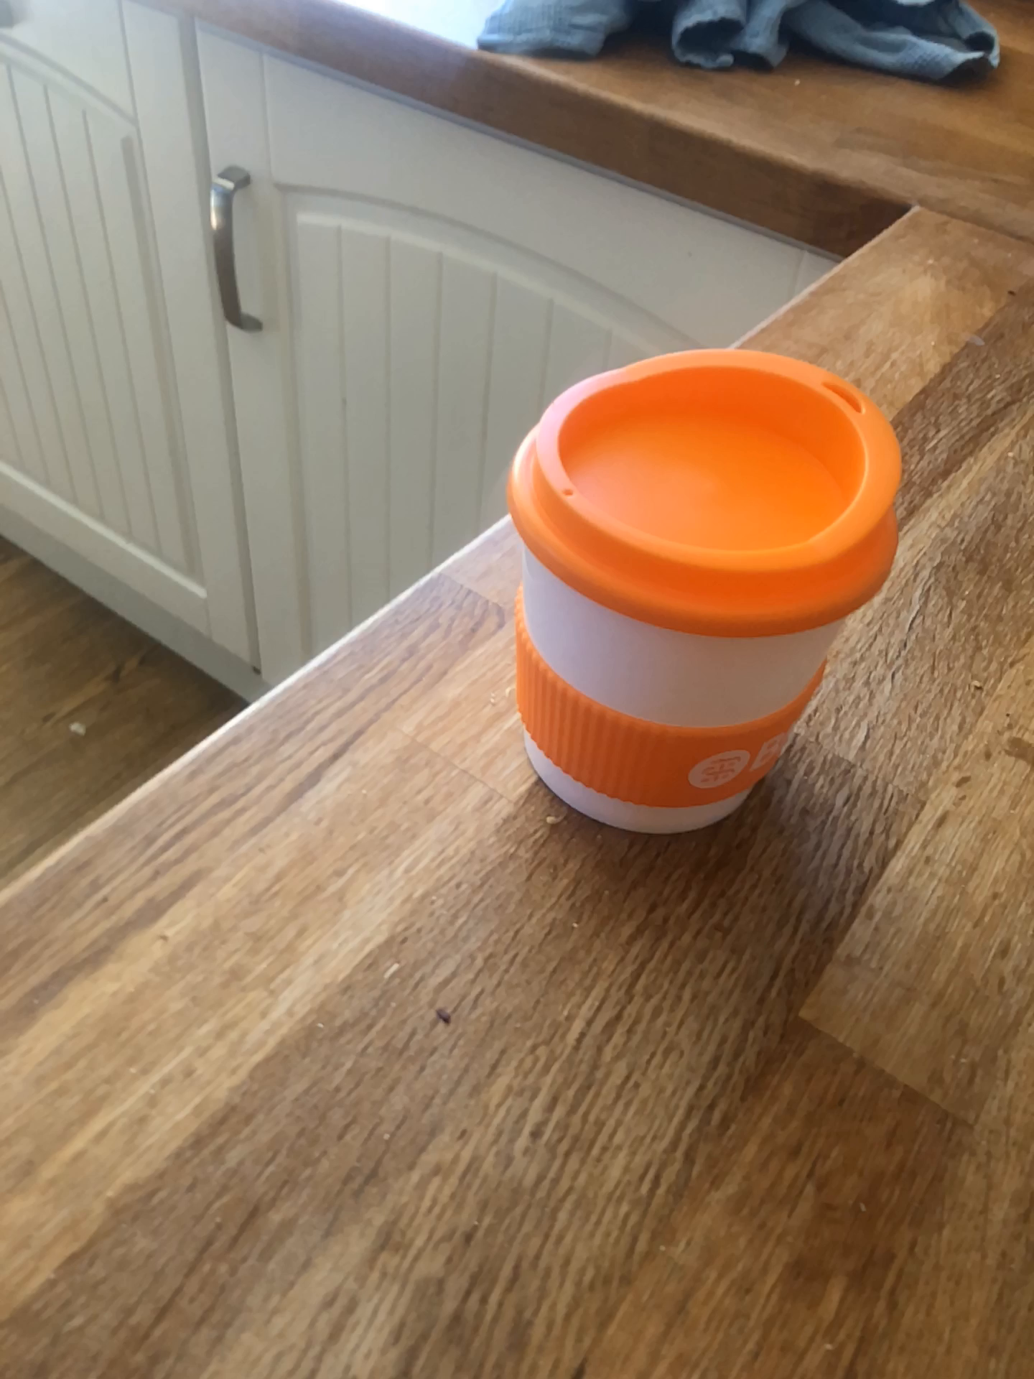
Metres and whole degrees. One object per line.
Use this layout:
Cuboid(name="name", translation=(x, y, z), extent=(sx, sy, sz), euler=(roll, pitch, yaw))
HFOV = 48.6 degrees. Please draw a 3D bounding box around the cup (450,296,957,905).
Cuboid(name="cup", translation=(0.042, -0.023, 0.276), extent=(0.080, 0.094, 0.086), euler=(4, 44, -4))
